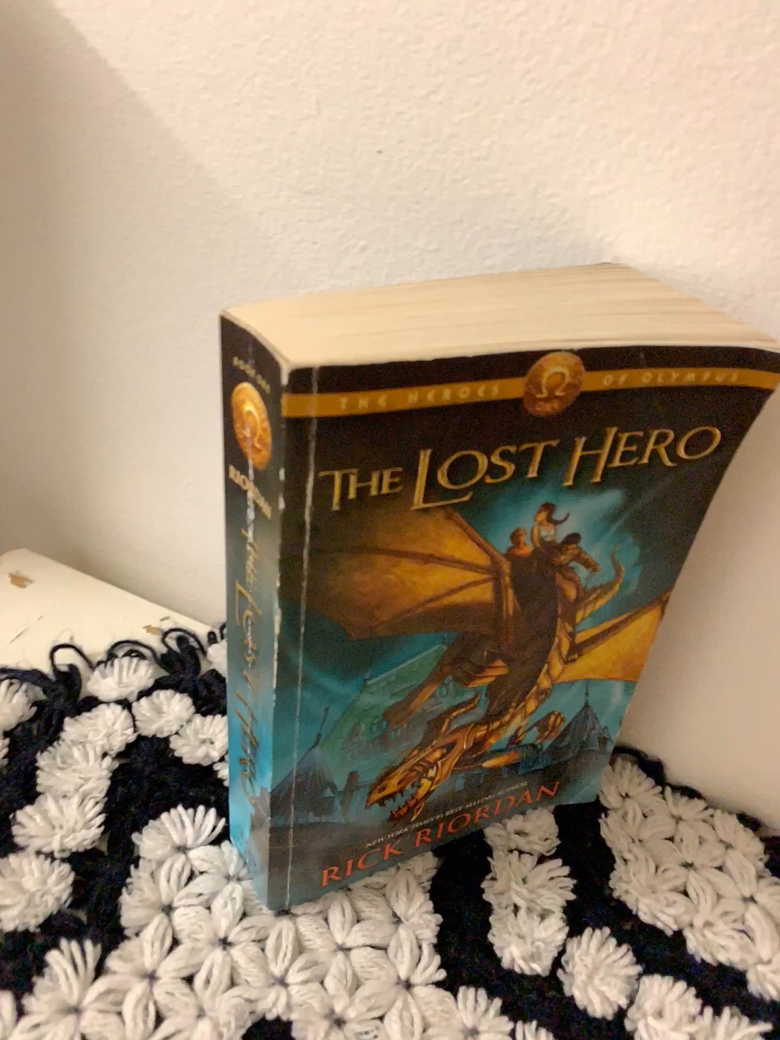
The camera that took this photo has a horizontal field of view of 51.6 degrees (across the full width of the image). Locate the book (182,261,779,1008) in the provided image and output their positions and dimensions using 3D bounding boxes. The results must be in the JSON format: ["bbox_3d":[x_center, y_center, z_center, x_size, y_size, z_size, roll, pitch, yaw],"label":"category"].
[{"bbox_3d":[0.024,0.026,0.234,0.142,0.177,0.068,-12,33,-28],"label":"book"}]
